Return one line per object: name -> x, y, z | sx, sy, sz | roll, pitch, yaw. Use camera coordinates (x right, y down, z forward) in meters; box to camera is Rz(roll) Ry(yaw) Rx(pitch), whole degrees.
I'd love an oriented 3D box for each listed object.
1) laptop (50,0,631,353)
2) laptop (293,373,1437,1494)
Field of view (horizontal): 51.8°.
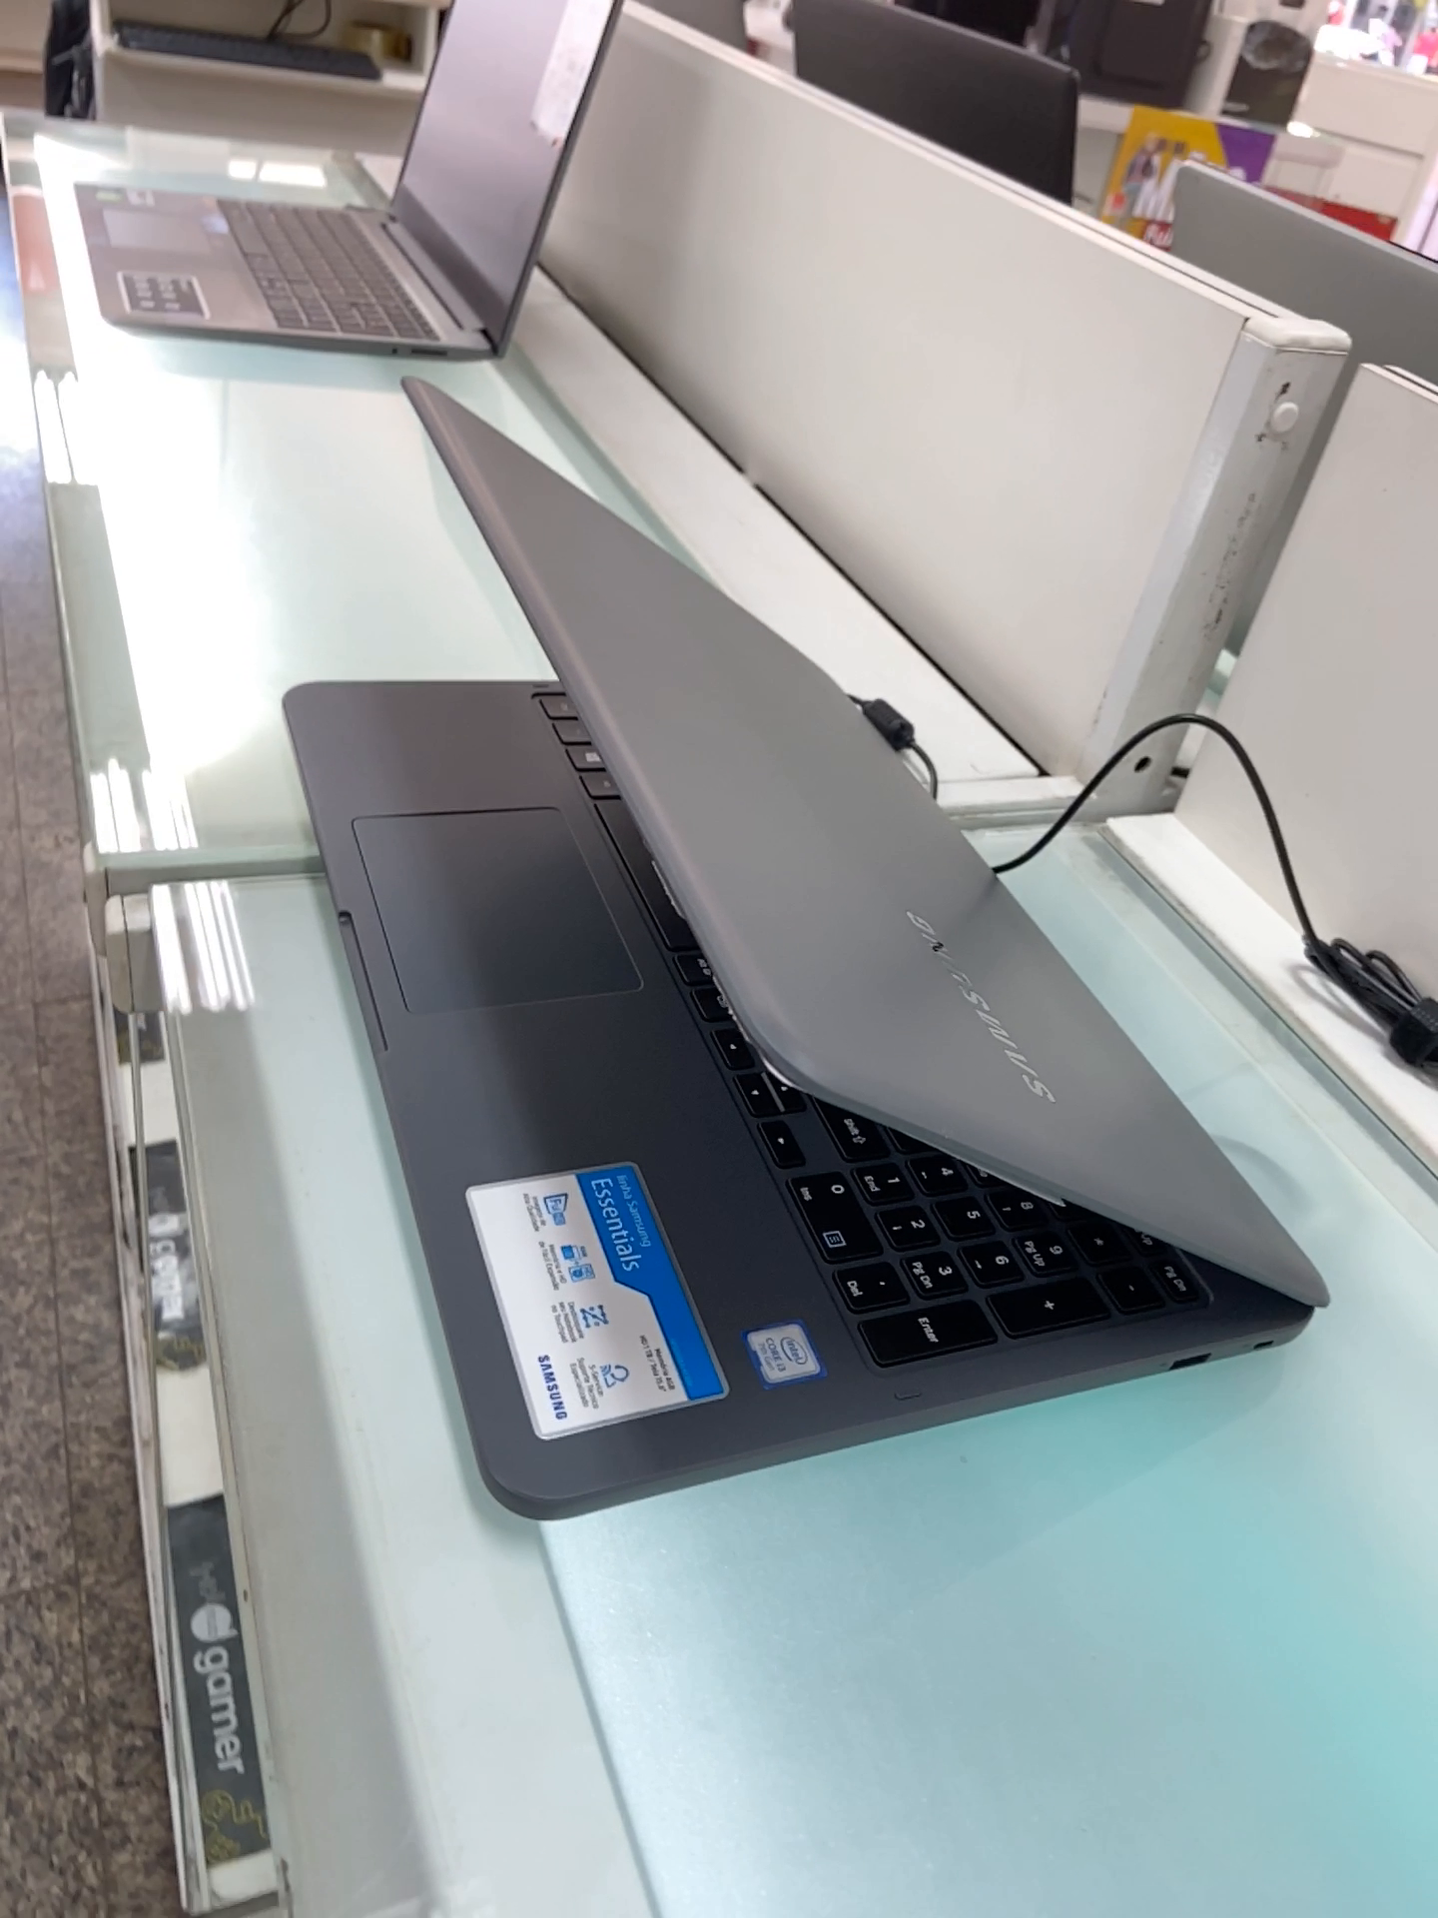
laptop -> -0.282, -0.612, 1.047 | 0.312, 0.225, 0.311 | -5, 41, -20
laptop -> 0.011, -0.054, 0.480 | 0.237, 0.126, 0.369 | -6, 41, -22
